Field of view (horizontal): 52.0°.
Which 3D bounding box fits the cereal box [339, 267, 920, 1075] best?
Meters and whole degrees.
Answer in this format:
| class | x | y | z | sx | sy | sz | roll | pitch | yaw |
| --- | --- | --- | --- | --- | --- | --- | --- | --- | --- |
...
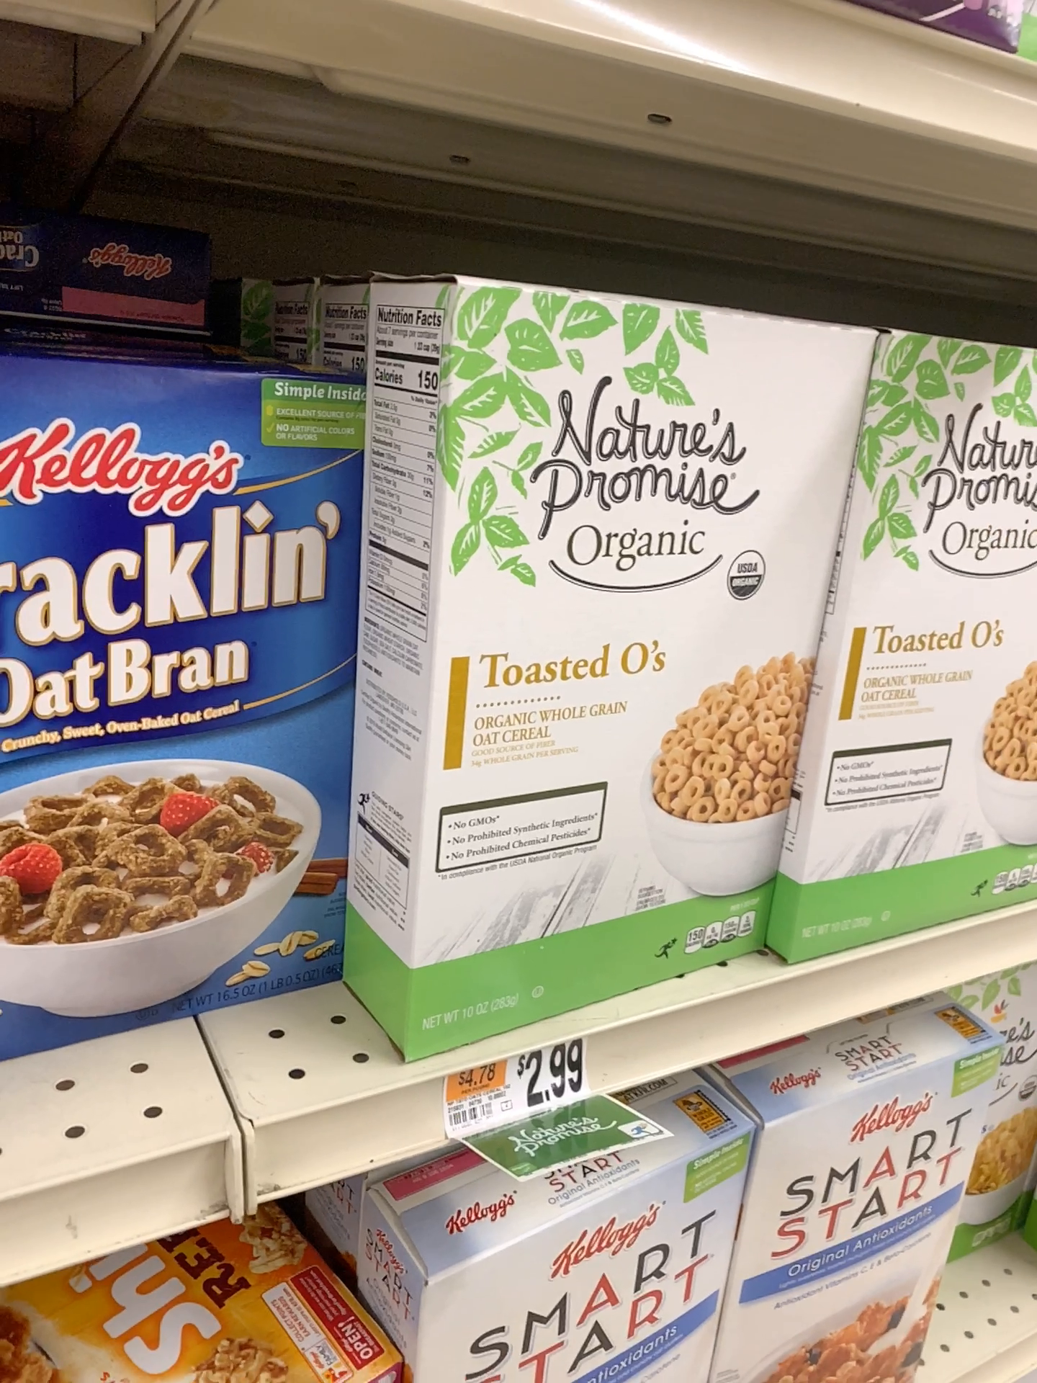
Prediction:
| class | x | y | z | sx | sy | sz | roll | pitch | yaw |
| --- | --- | --- | --- | --- | --- | --- | --- | --- | --- |
| cereal box | 0.038 | -0.011 | 0.415 | 0.190 | 0.269 | 0.070 | -7 | 22 | -32 |
